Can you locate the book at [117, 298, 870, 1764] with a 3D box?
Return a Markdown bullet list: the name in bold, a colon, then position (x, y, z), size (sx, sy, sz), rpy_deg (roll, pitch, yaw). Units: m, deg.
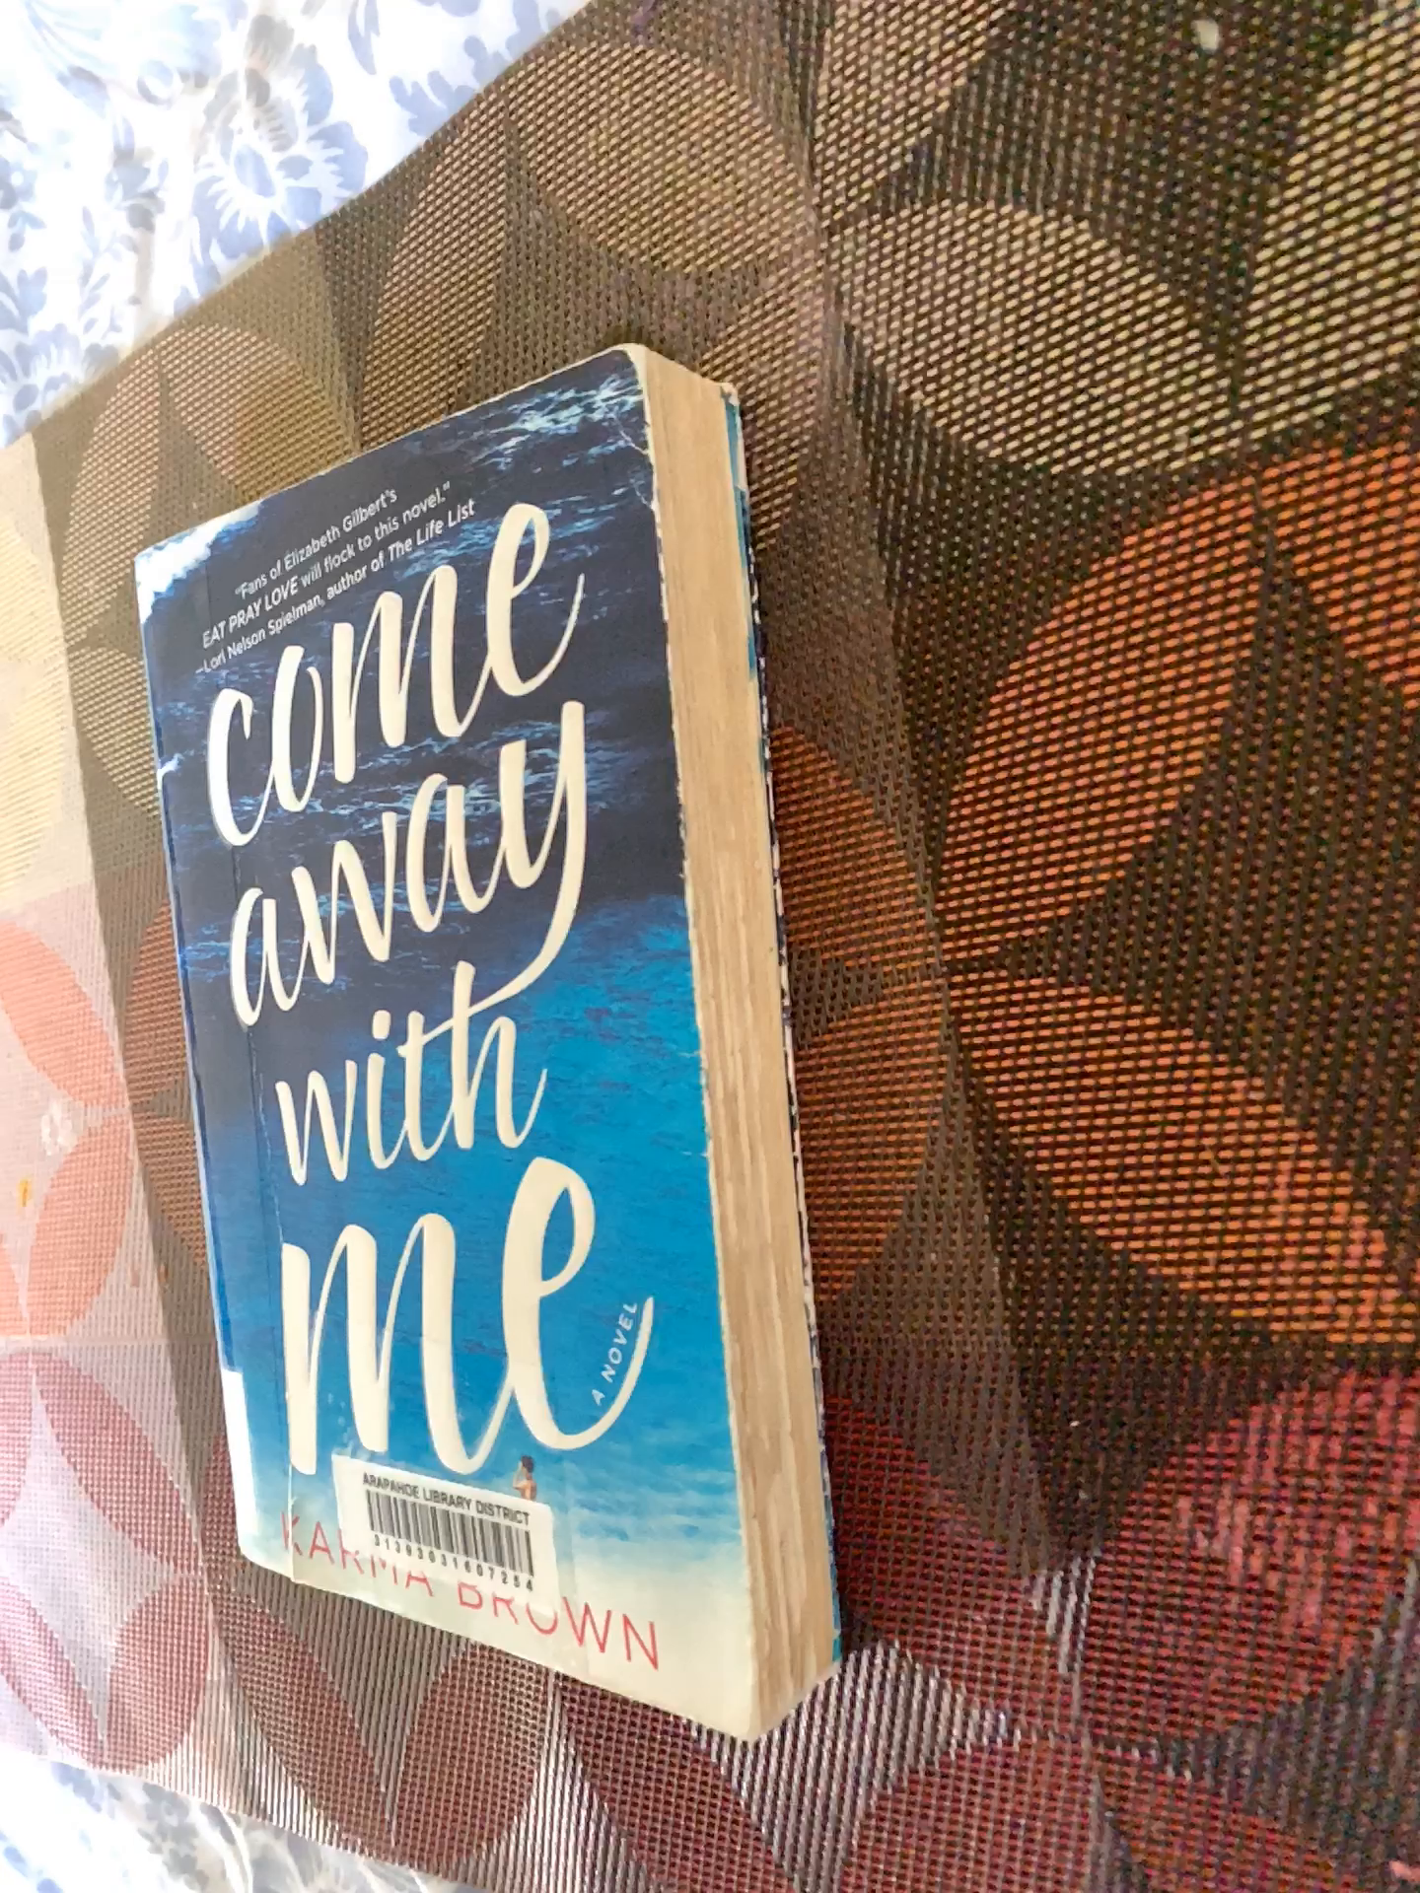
- **book**: position (-0.045, 0.015, 0.254), size (0.135, 0.030, 0.200), rpy_deg (-4, 91, 40)
